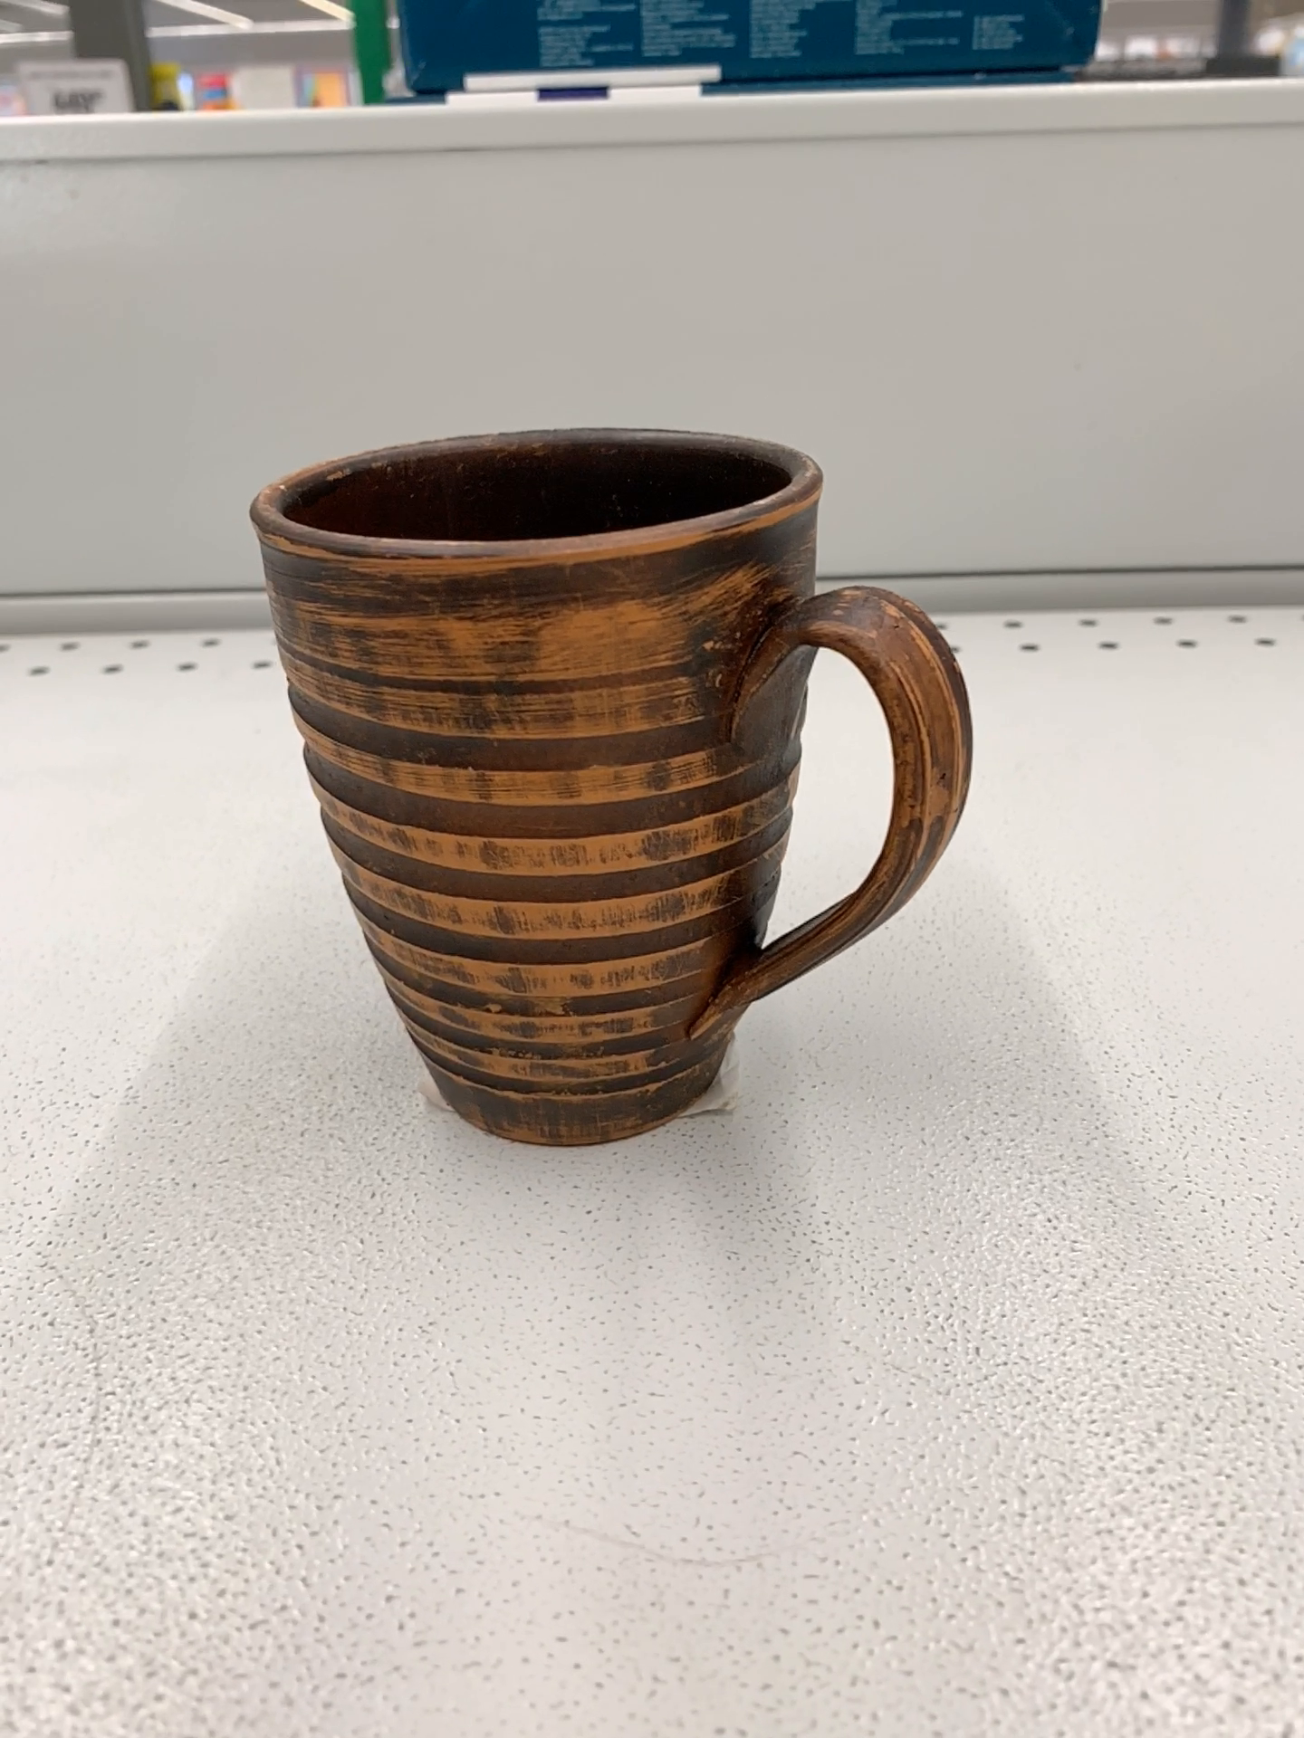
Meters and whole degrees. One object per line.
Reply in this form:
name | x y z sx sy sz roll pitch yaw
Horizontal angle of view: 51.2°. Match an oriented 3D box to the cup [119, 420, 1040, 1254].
cup | -0.006 -0.016 0.217 0.106 0.089 0.084 12 30 25
